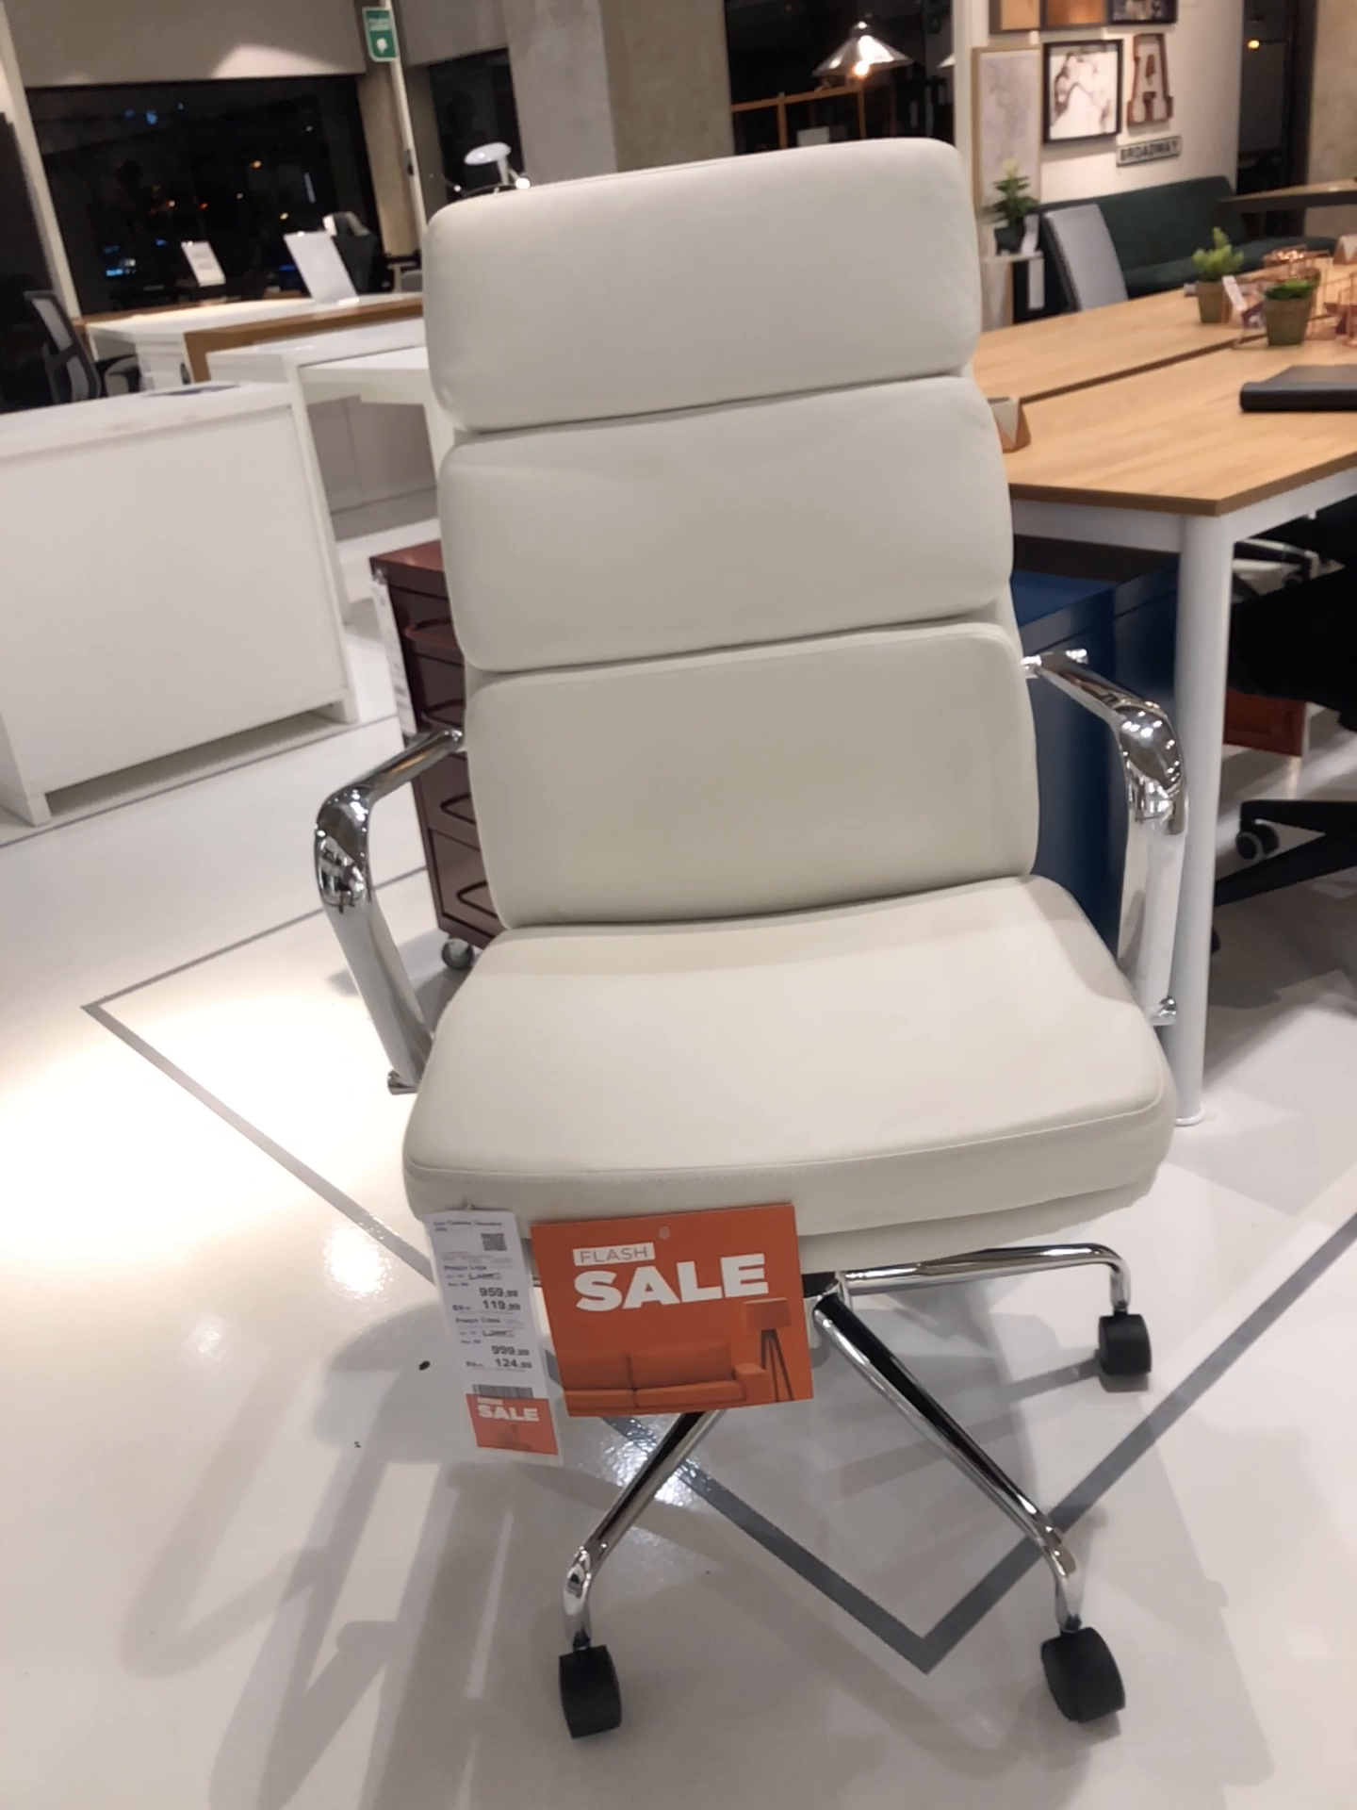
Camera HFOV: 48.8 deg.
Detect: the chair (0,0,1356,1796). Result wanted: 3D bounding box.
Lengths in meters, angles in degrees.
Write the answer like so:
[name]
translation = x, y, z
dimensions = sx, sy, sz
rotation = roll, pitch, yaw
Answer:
[chair]
translation = 0.086, -0.018, 1.099
dimensions = 0.660, 1.013, 0.655
rotation = -5, 25, 2
